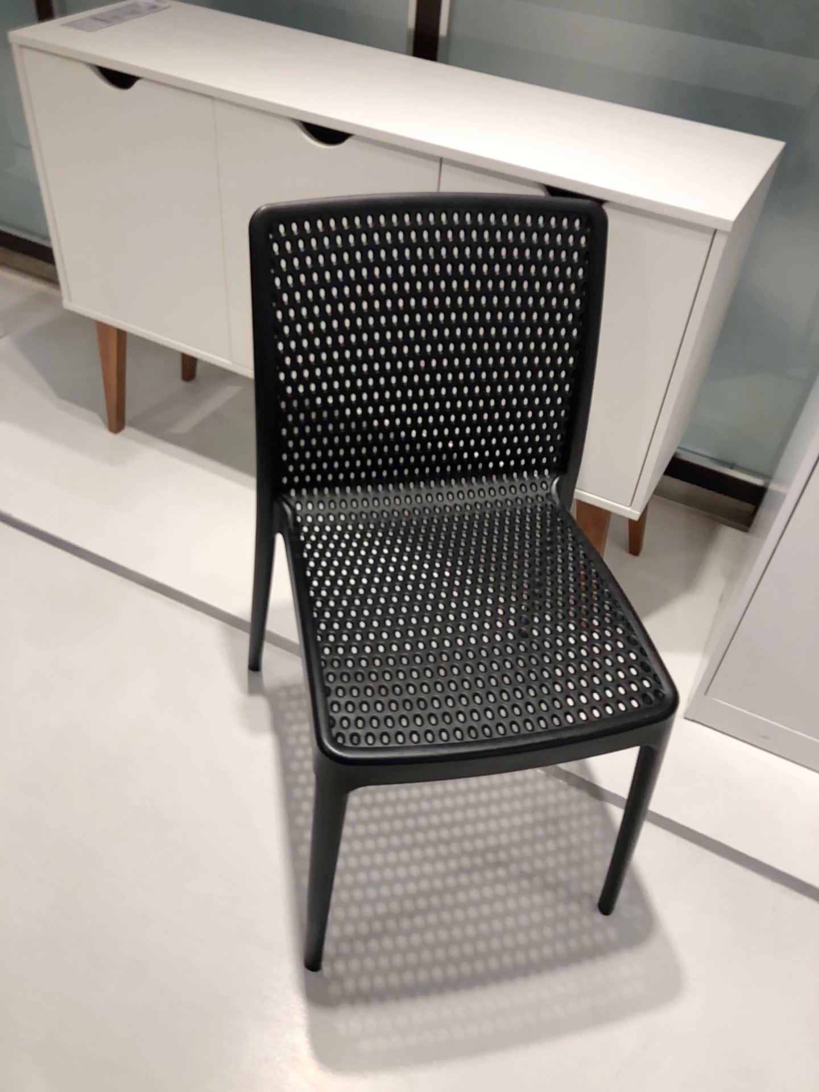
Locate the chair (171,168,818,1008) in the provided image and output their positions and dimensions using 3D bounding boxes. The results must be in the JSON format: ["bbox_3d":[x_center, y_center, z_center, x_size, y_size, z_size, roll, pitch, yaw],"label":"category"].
[{"bbox_3d":[0.020,0.063,1.178,0.531,0.864,0.604,-6,44,-13],"label":"chair"}]
